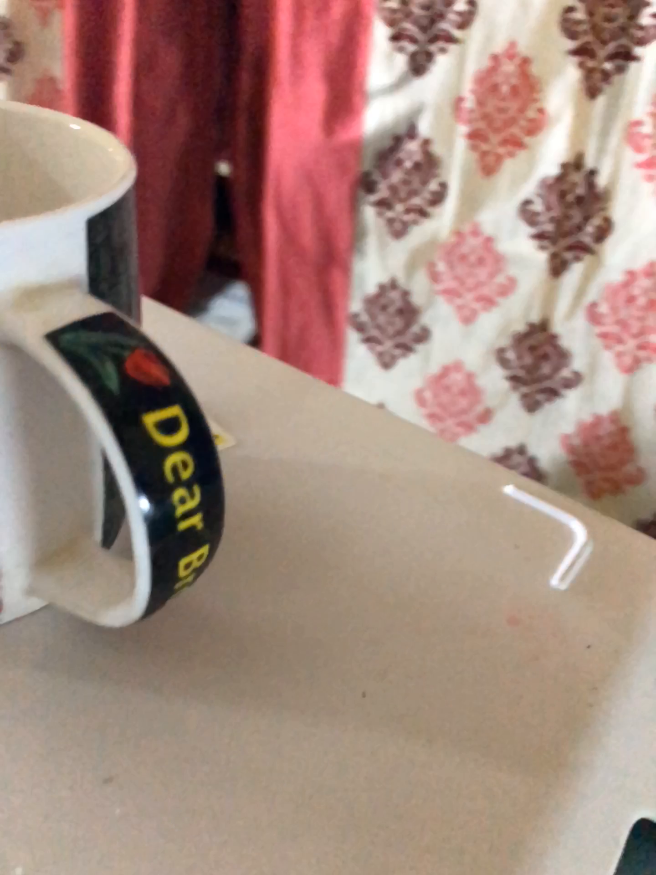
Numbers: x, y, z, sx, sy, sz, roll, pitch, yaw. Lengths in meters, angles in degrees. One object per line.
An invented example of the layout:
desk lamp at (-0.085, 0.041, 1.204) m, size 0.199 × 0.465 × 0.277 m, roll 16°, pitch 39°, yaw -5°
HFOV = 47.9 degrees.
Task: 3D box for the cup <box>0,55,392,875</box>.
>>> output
cup at (-0.071, -0.009, 0.147) m, size 0.130 × 0.099 × 0.080 m, roll 29°, pitch 36°, yaw 30°
